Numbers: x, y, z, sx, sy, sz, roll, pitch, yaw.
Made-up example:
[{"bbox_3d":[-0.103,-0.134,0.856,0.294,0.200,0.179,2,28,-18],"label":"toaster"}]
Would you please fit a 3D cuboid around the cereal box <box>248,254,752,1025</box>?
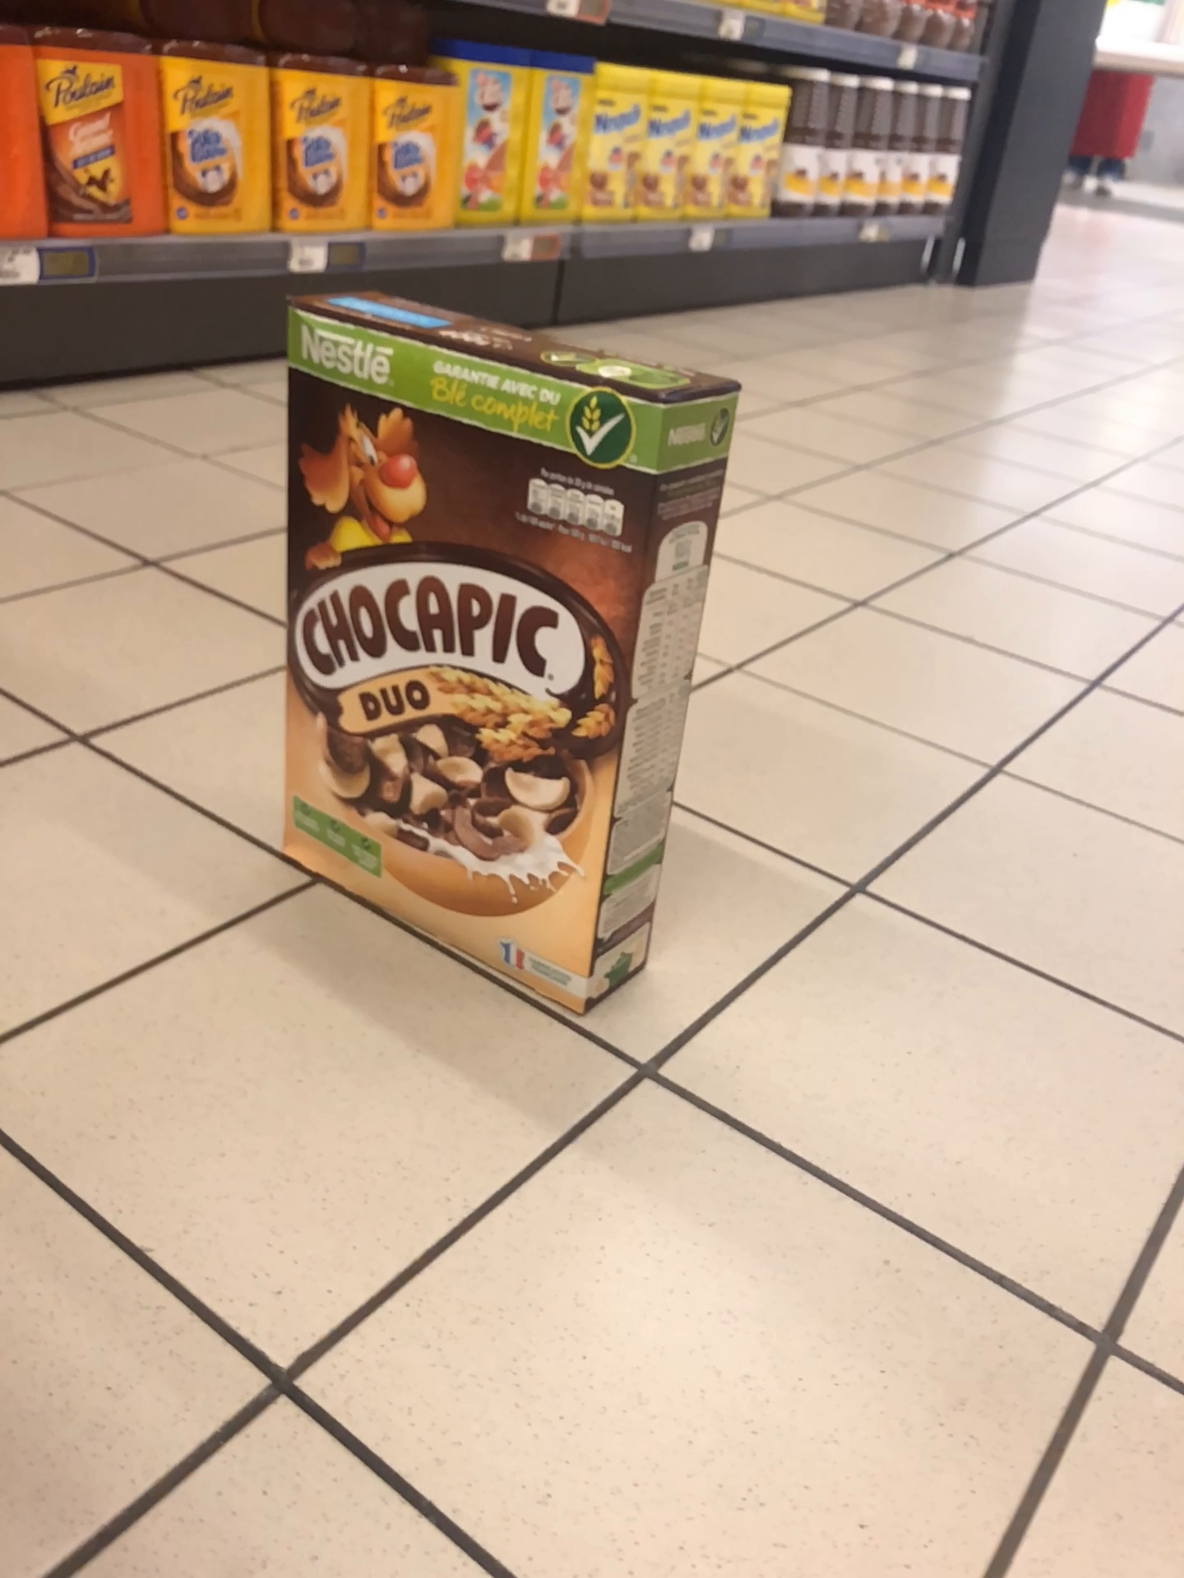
[{"bbox_3d":[-0.057,-0.068,0.571,0.200,0.278,0.060,24,30,29],"label":"cereal box"}]
